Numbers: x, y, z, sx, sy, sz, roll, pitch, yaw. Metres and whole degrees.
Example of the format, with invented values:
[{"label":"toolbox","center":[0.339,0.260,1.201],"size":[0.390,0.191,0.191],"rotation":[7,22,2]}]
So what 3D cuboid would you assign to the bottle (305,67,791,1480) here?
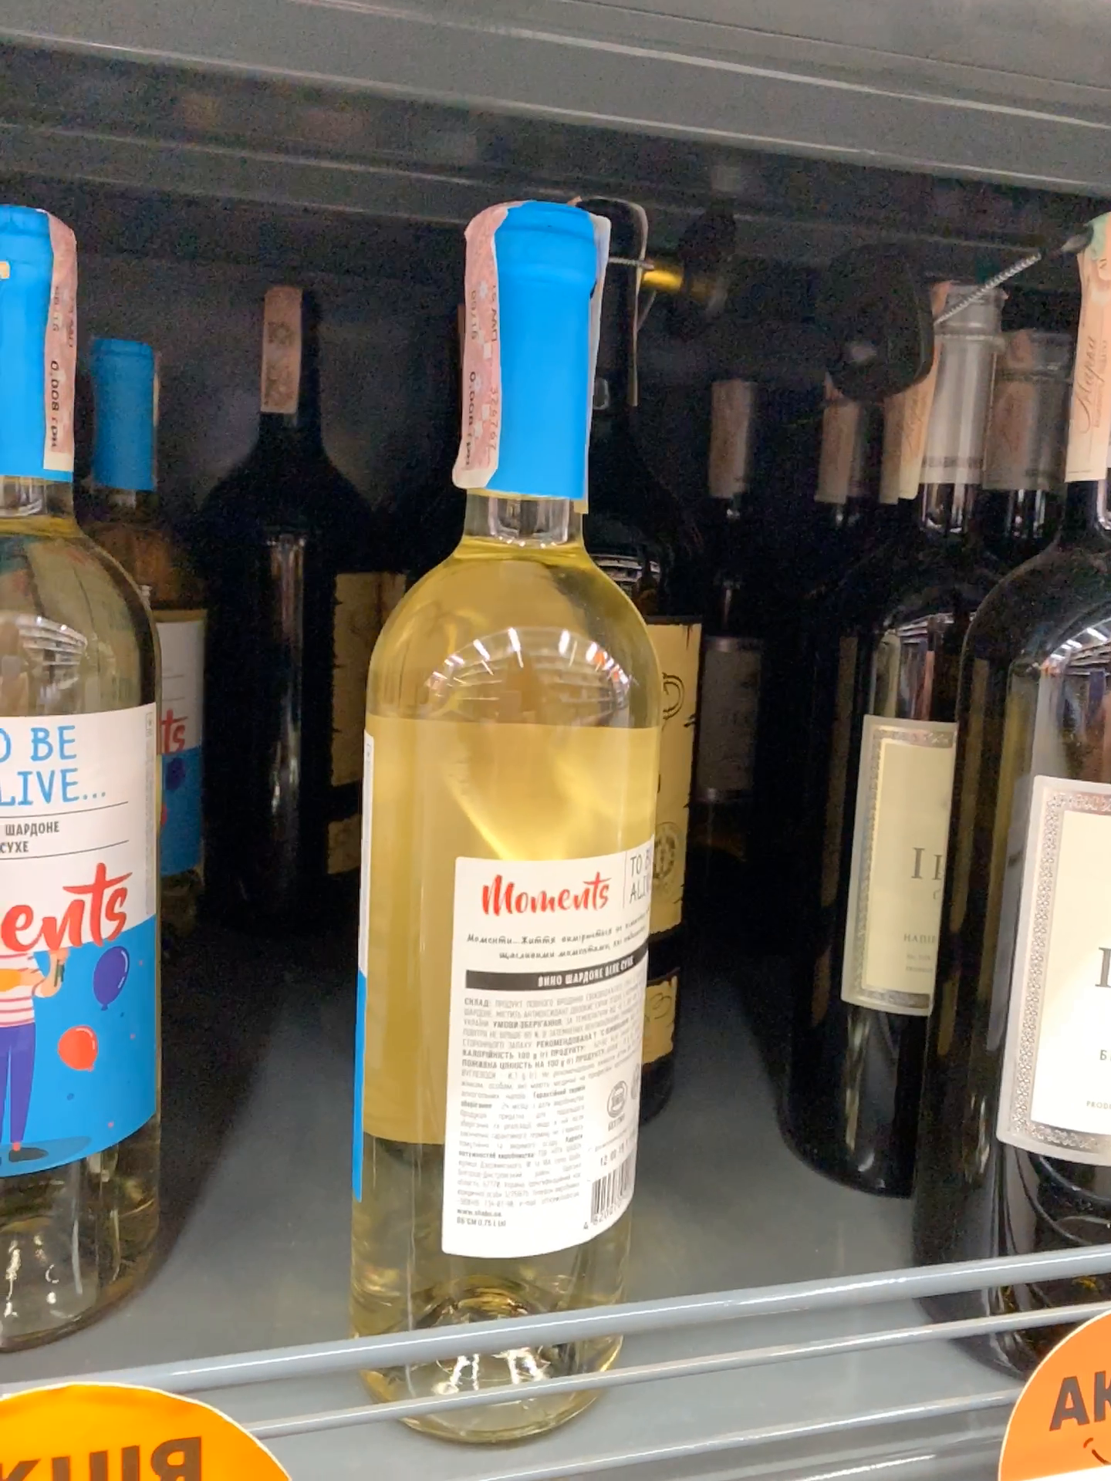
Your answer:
[{"label":"bottle","center":[-0.010,0.016,0.301],"size":[0.080,0.314,0.081],"rotation":[3,10,-1]}]
